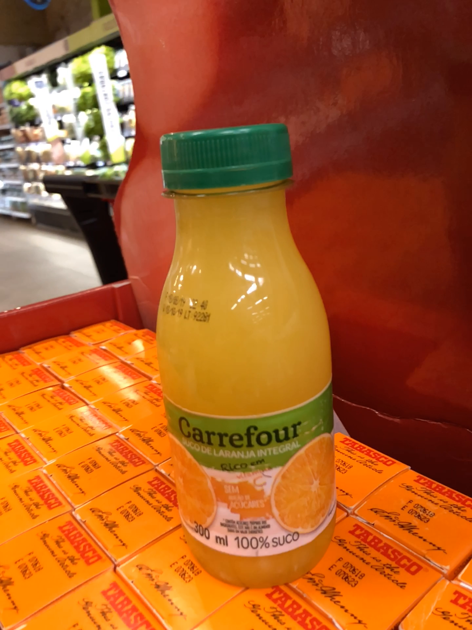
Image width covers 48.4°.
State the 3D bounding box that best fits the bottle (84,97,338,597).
[{"bbox_3d":[0.001,0.012,0.176,0.060,0.149,0.050,0,19,14],"label":"bottle"}]
